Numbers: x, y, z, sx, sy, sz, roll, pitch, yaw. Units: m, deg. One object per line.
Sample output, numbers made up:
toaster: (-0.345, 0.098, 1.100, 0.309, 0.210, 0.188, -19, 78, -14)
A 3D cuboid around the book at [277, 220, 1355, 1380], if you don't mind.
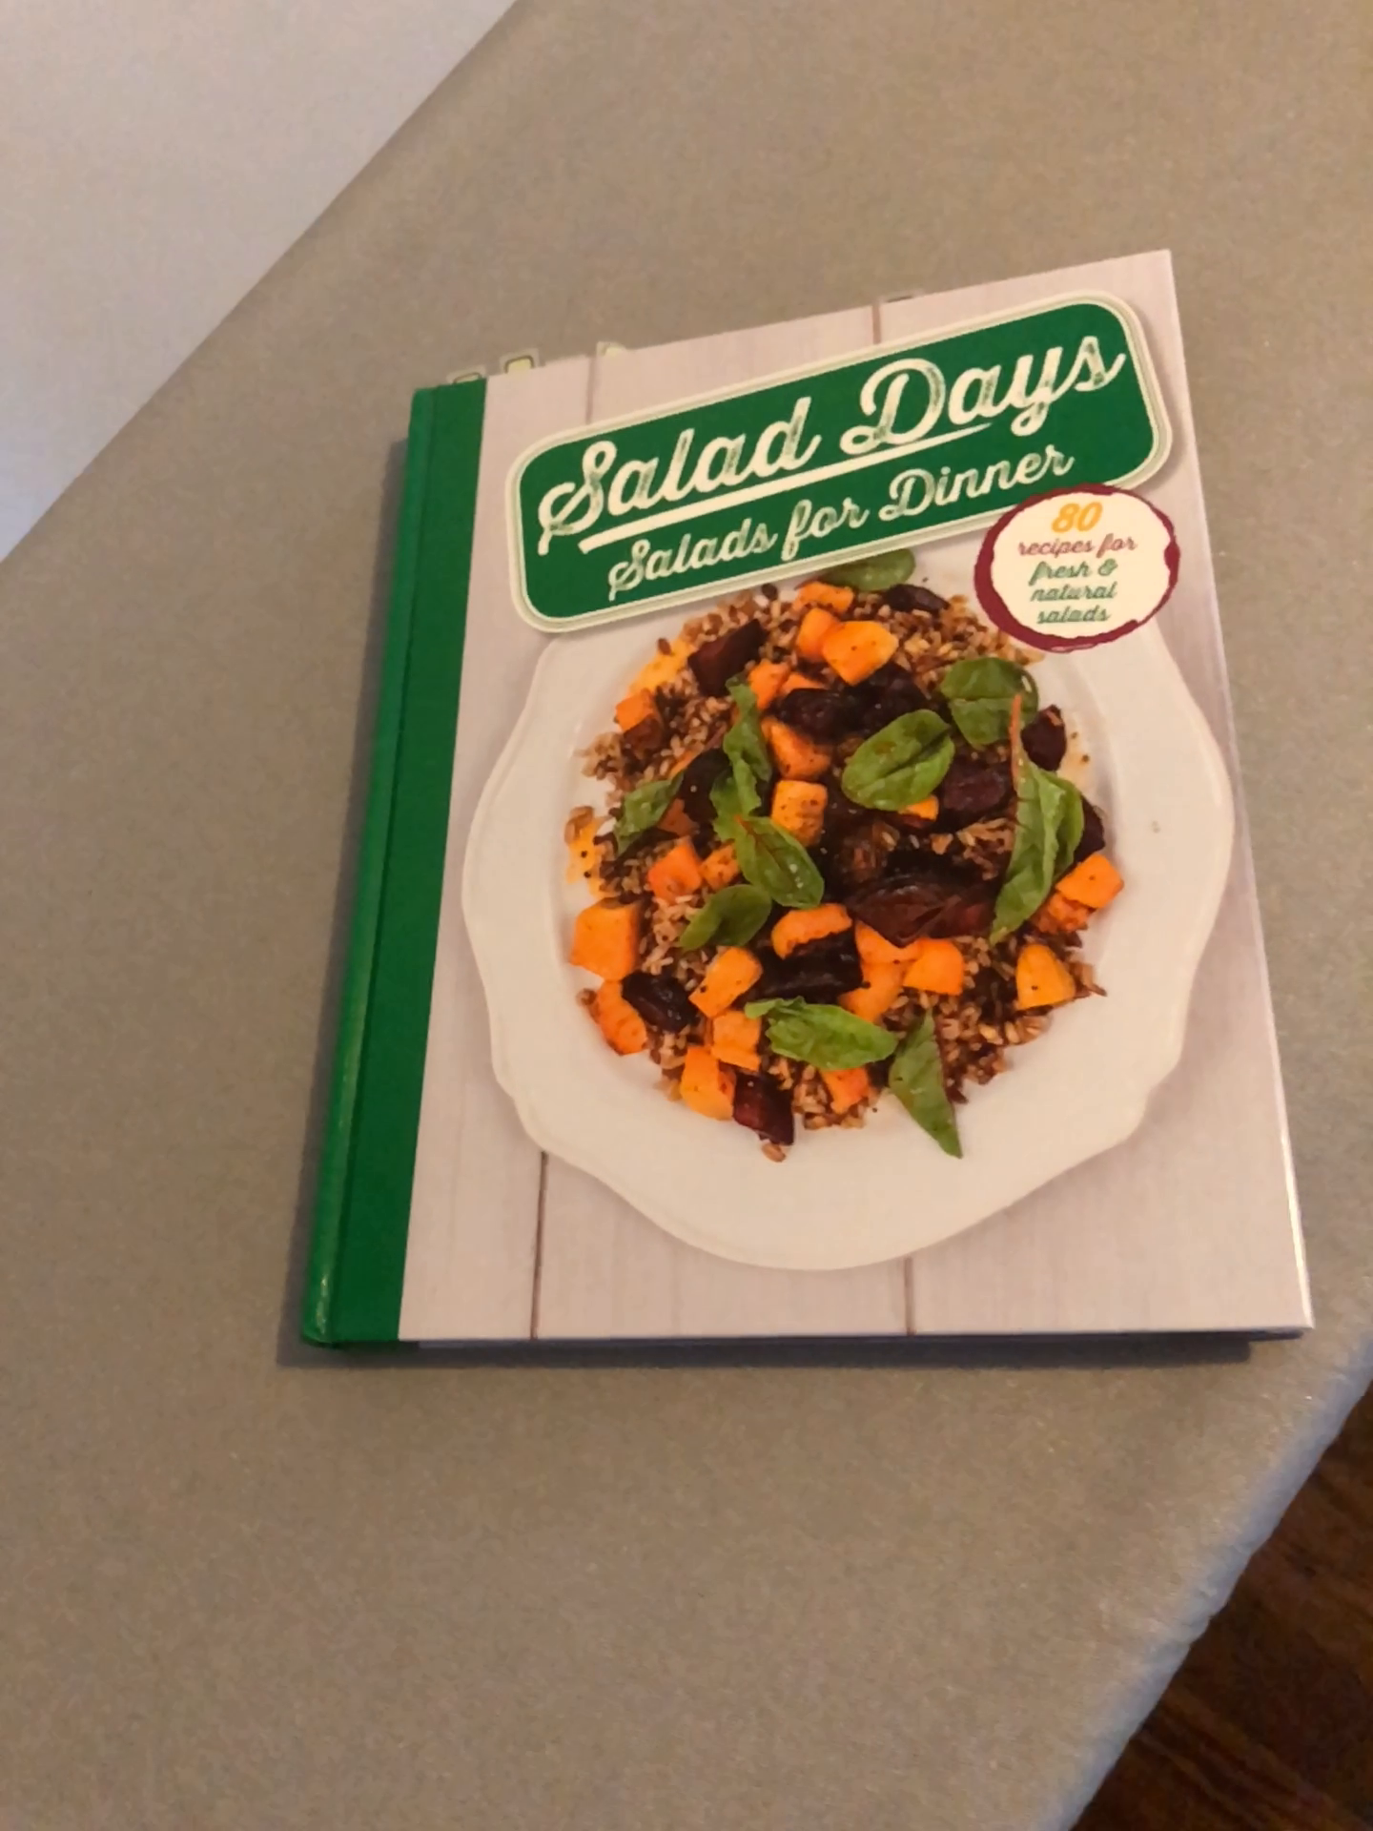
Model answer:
book: (0.022, -0.035, 0.362, 0.214, 0.020, 0.275, -5, 66, 14)
